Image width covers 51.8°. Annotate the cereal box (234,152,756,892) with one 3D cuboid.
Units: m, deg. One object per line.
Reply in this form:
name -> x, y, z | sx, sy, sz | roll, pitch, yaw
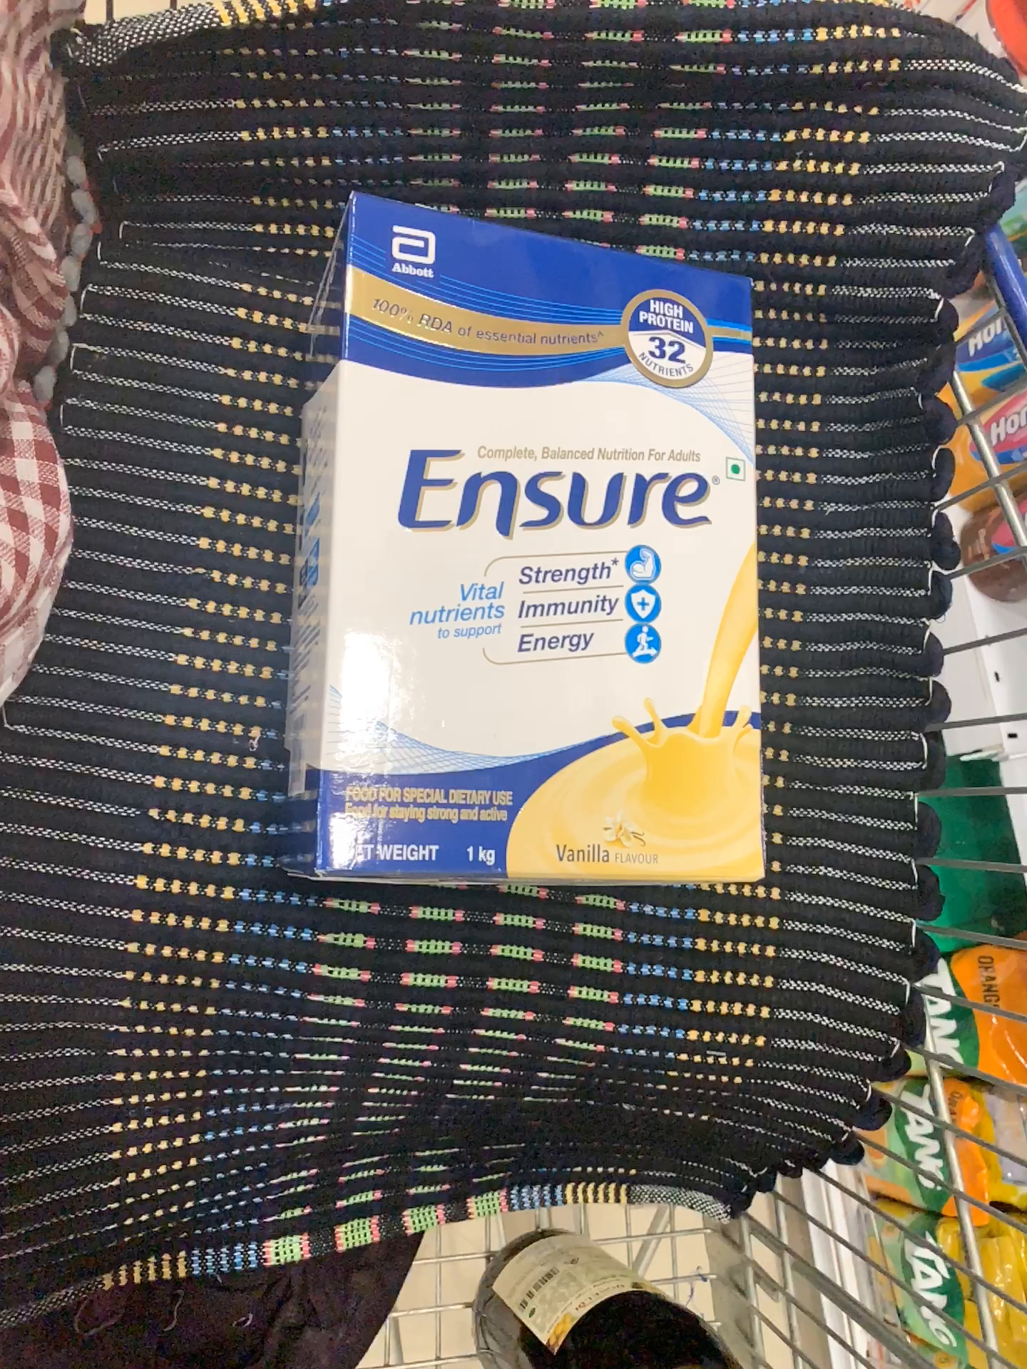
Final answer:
cereal box -> -0.009, -0.042, 0.367 | 0.150, 0.090, 0.220 | 5, 77, -18
